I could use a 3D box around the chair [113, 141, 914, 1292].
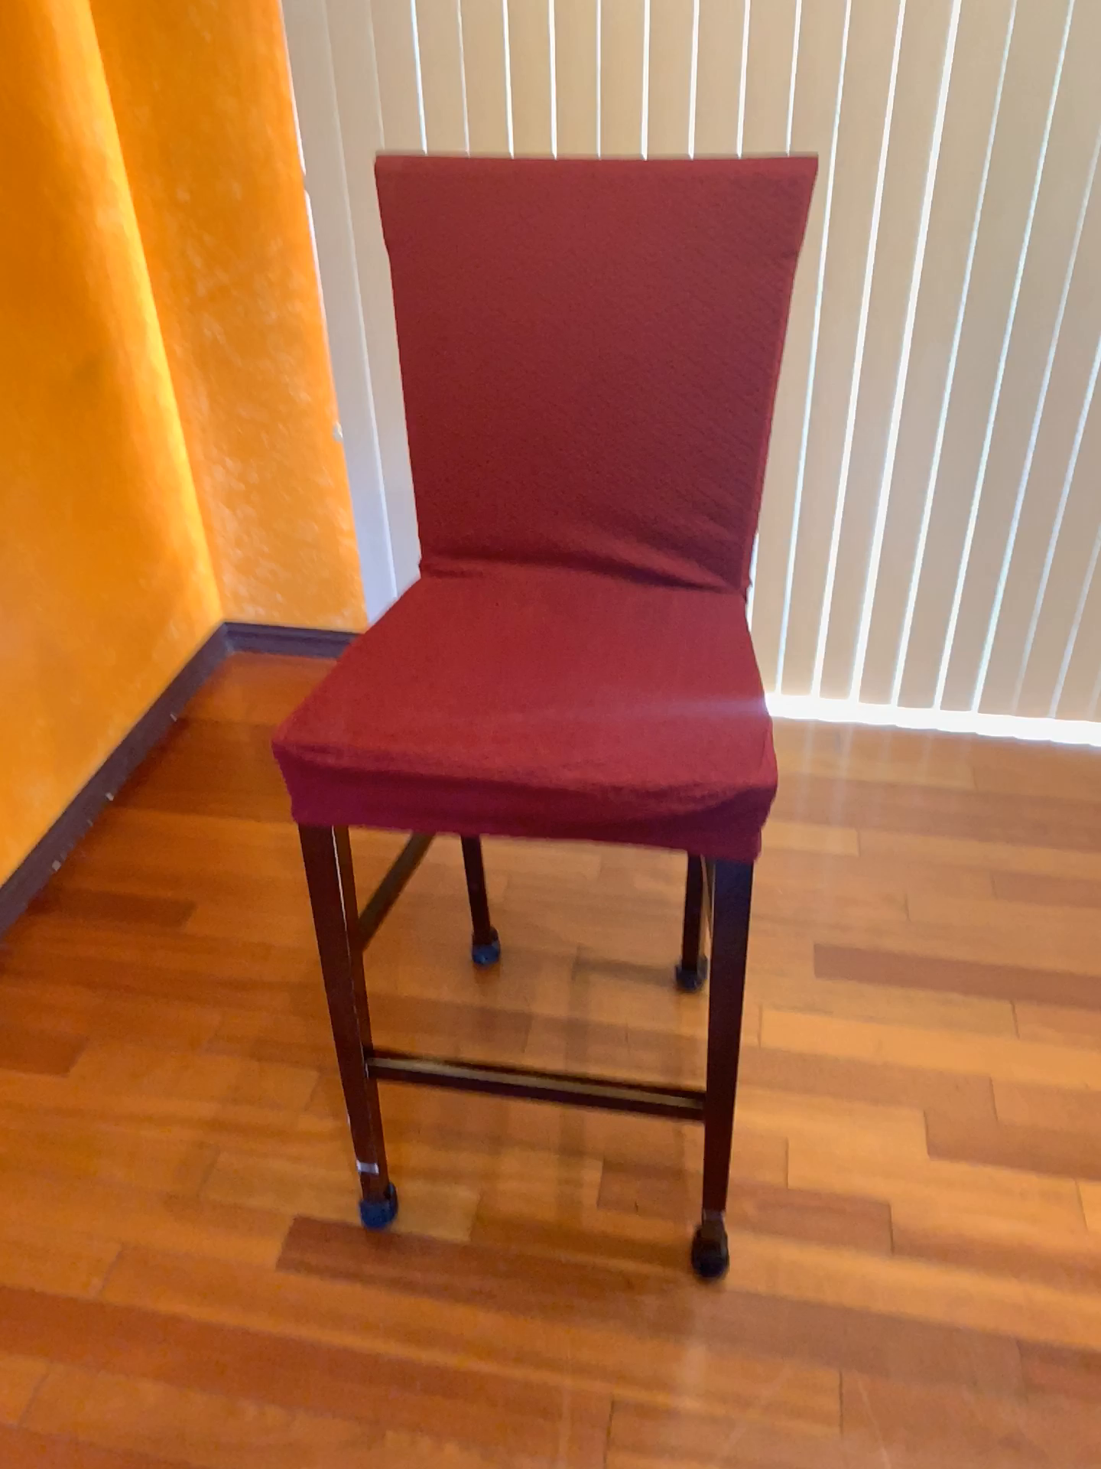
[{"bbox_3d":[0.013,0.009,1.155,0.471,1.027,0.506,4,35,8],"label":"chair"}]
